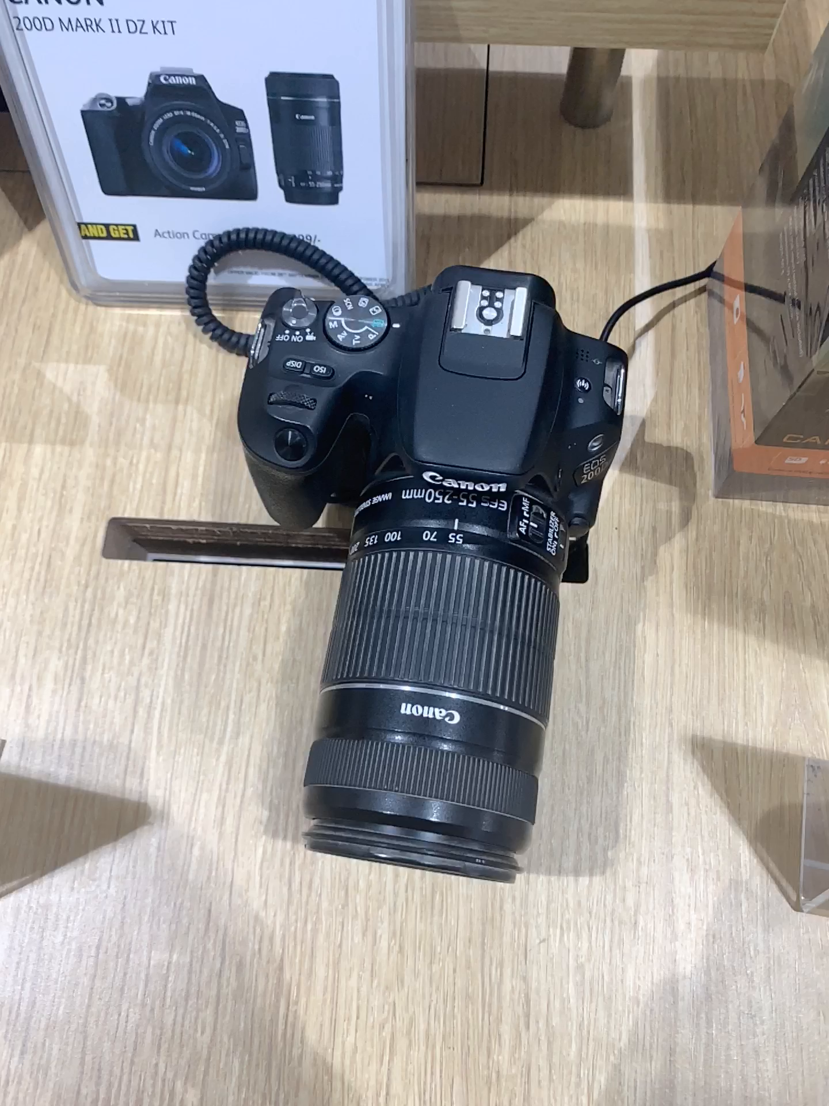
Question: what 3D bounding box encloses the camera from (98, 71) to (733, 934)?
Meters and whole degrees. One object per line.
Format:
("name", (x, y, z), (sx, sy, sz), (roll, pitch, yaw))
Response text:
("camera", (0.012, -0.013, 0.242), (0.120, 0.100, 0.200), (6, 71, 4))
